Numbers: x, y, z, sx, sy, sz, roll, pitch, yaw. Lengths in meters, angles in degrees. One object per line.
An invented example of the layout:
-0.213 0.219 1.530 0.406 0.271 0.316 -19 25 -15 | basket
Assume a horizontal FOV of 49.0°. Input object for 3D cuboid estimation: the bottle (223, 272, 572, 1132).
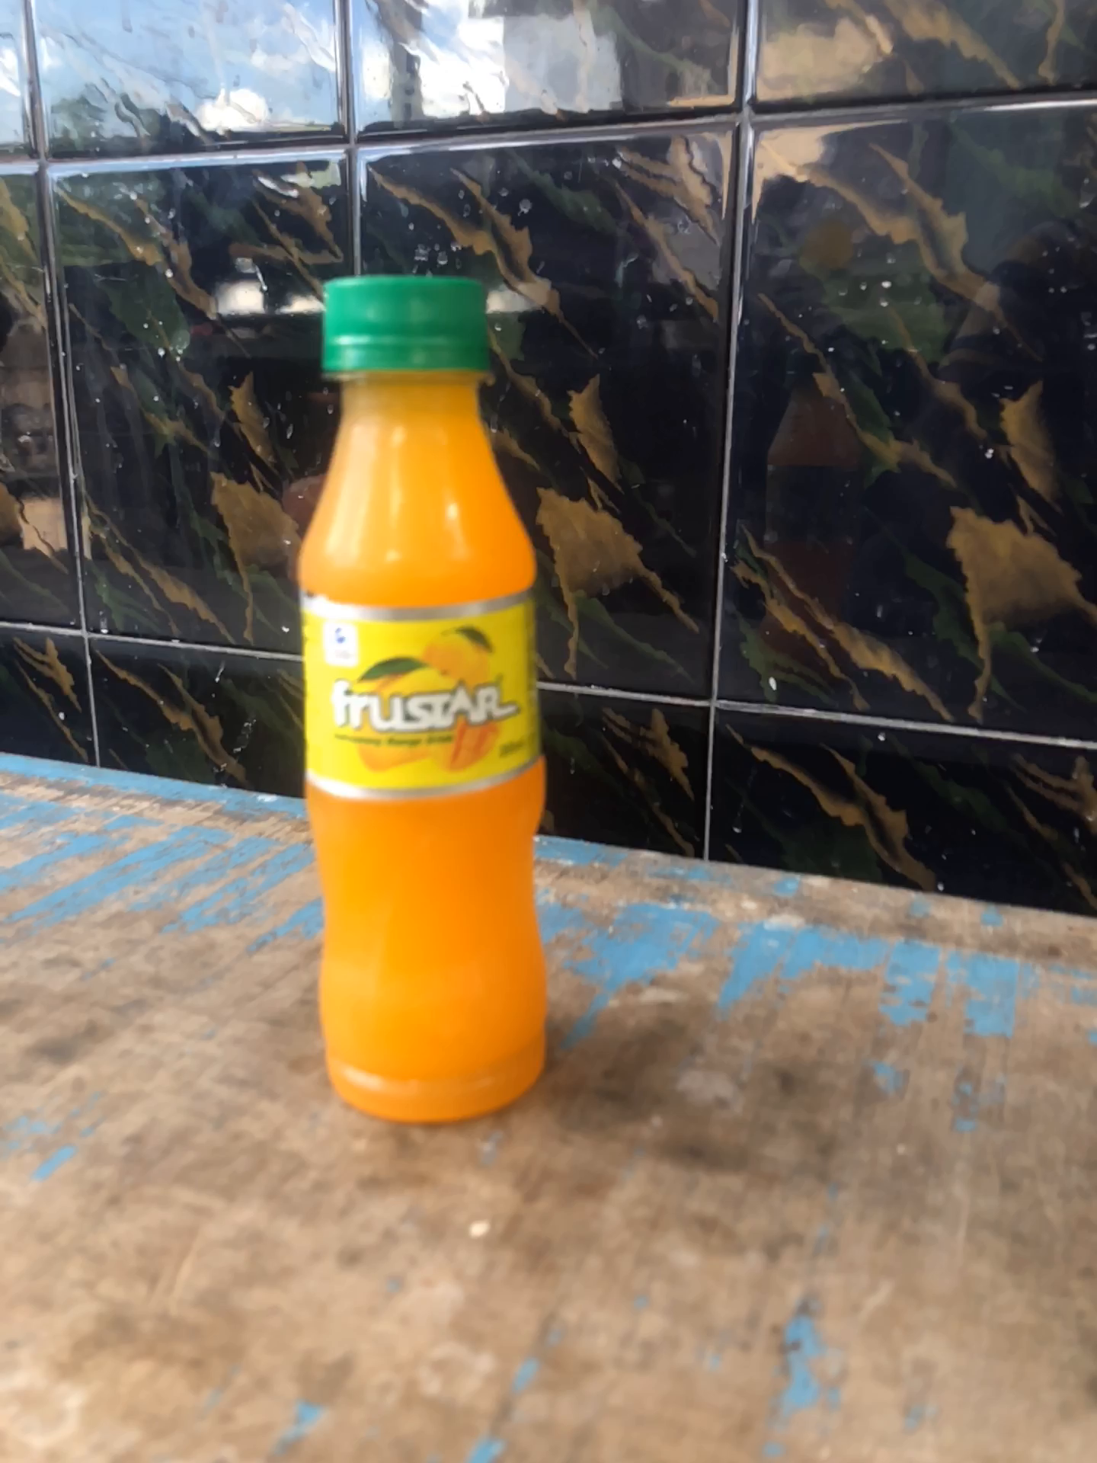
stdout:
-0.027 -0.005 0.255 0.060 0.169 0.050 0 16 -2 | bottle
